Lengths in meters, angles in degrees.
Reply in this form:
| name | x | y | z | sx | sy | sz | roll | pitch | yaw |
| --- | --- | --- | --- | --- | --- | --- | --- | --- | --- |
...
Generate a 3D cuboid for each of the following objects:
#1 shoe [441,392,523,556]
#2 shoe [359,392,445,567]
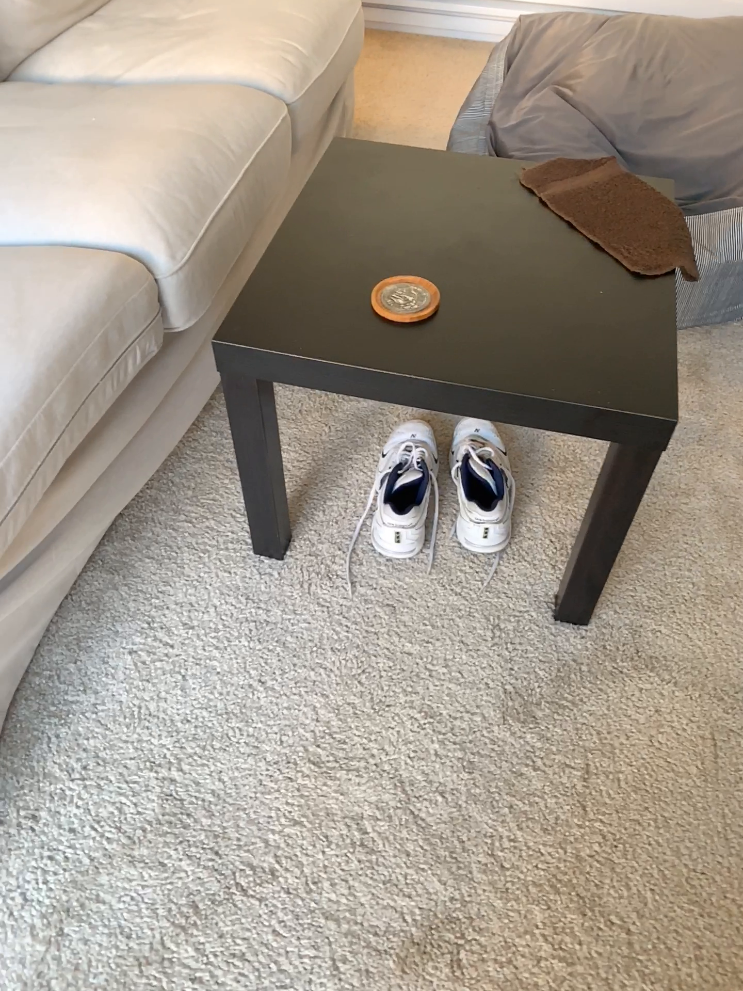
| name | x | y | z | sx | sy | sz | roll | pitch | yaw |
| --- | --- | --- | --- | --- | --- | --- | --- | --- | --- |
| shoe | 0.185 | -0.043 | 1.322 | 0.110 | 0.100 | 0.291 | 2 | 50 | 0 |
| shoe | 0.055 | -0.033 | 1.277 | 0.110 | 0.100 | 0.291 | 6 | 50 | 4 |
